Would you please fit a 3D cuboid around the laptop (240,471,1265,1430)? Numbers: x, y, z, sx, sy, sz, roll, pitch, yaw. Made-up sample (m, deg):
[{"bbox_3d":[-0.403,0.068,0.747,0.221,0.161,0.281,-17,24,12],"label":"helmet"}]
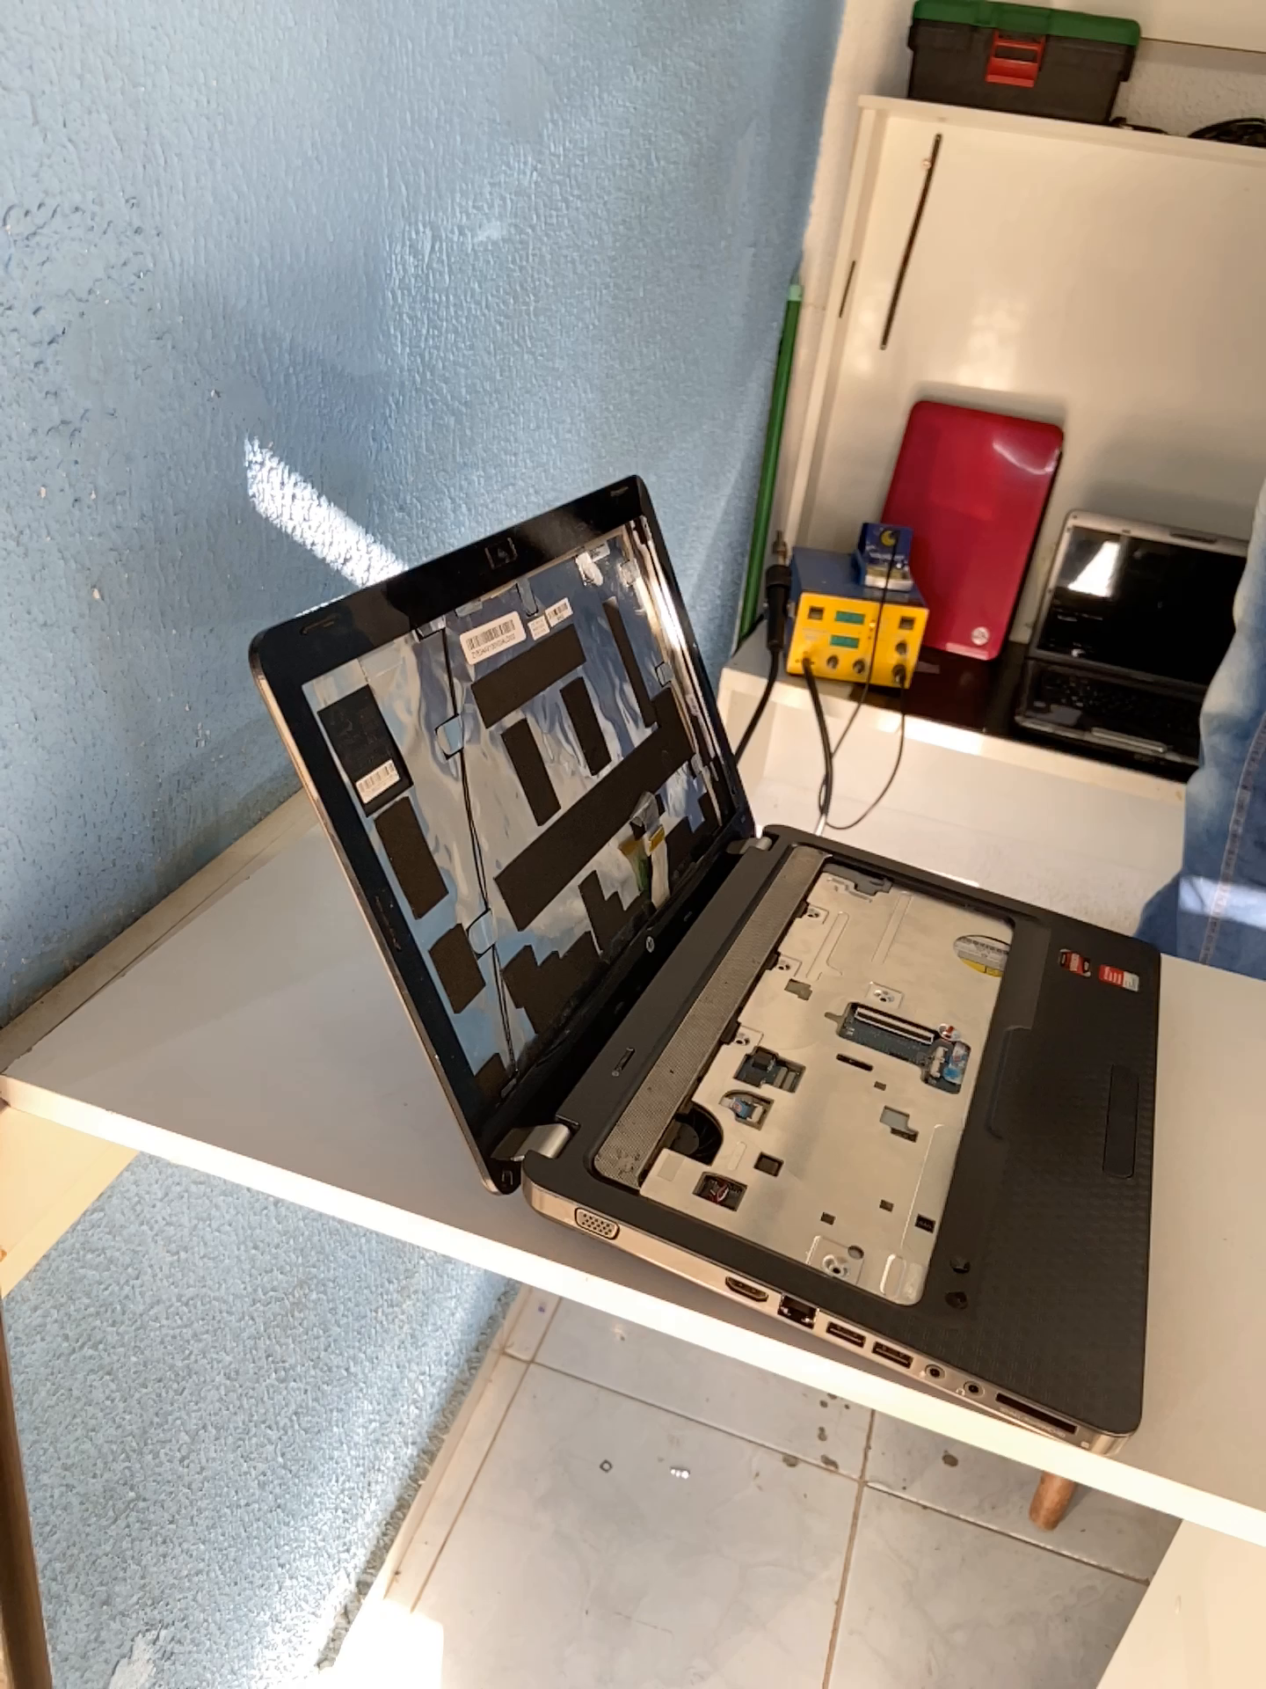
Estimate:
[{"bbox_3d":[0.082,-0.007,0.573,0.349,0.179,0.340,18,29,14],"label":"laptop"}]
